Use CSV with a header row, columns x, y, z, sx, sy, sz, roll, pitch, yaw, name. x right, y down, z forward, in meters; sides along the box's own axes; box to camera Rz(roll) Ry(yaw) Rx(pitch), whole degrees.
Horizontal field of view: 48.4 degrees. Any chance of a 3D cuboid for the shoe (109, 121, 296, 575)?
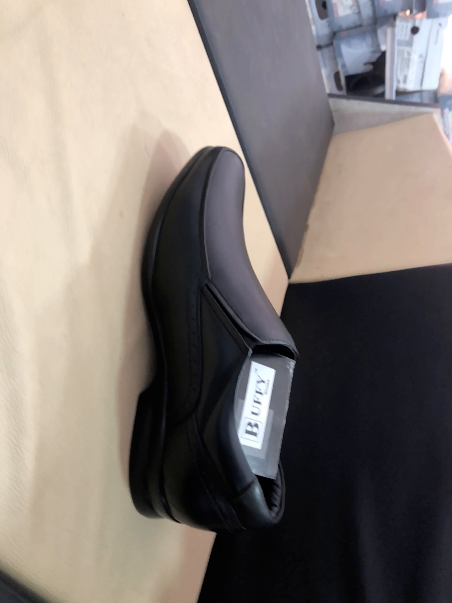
x,y,z,sx,sy,sz,roll,pitch,yaw,name
-0.004,0.028,0.367,0.111,0.070,0.280,33,57,-59,shoe
